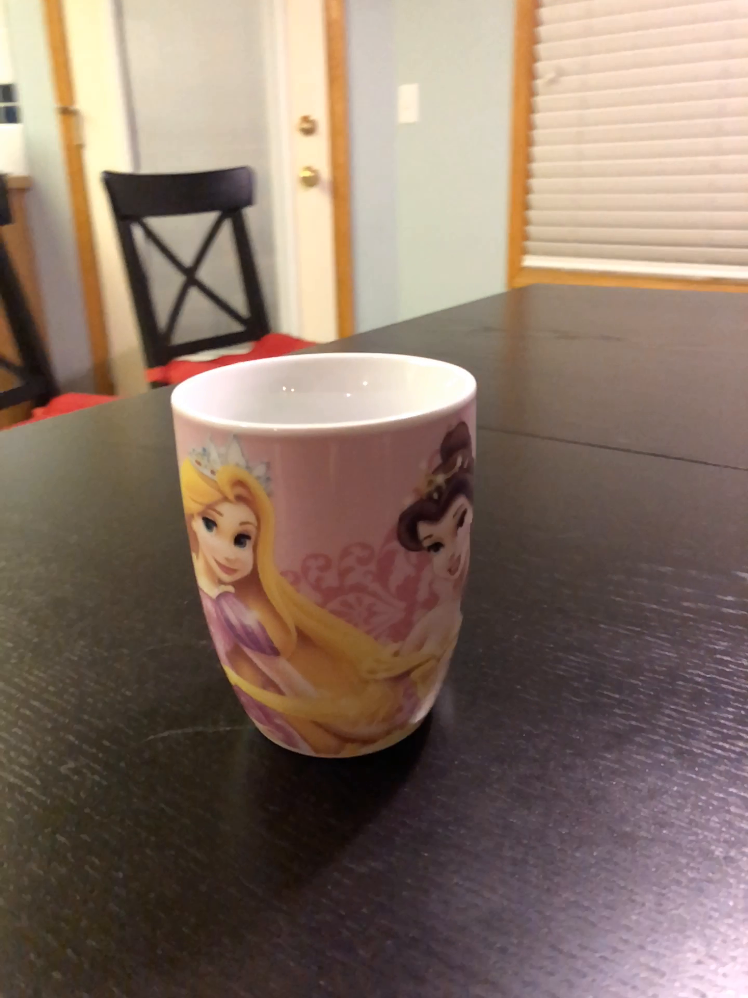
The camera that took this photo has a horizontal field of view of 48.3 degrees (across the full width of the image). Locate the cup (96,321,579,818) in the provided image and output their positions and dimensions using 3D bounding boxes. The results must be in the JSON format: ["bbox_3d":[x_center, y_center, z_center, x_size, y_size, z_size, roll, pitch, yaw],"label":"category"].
[{"bbox_3d":[-0.002,0.006,0.260,0.090,0.100,0.120,10,24,29],"label":"cup"}]
